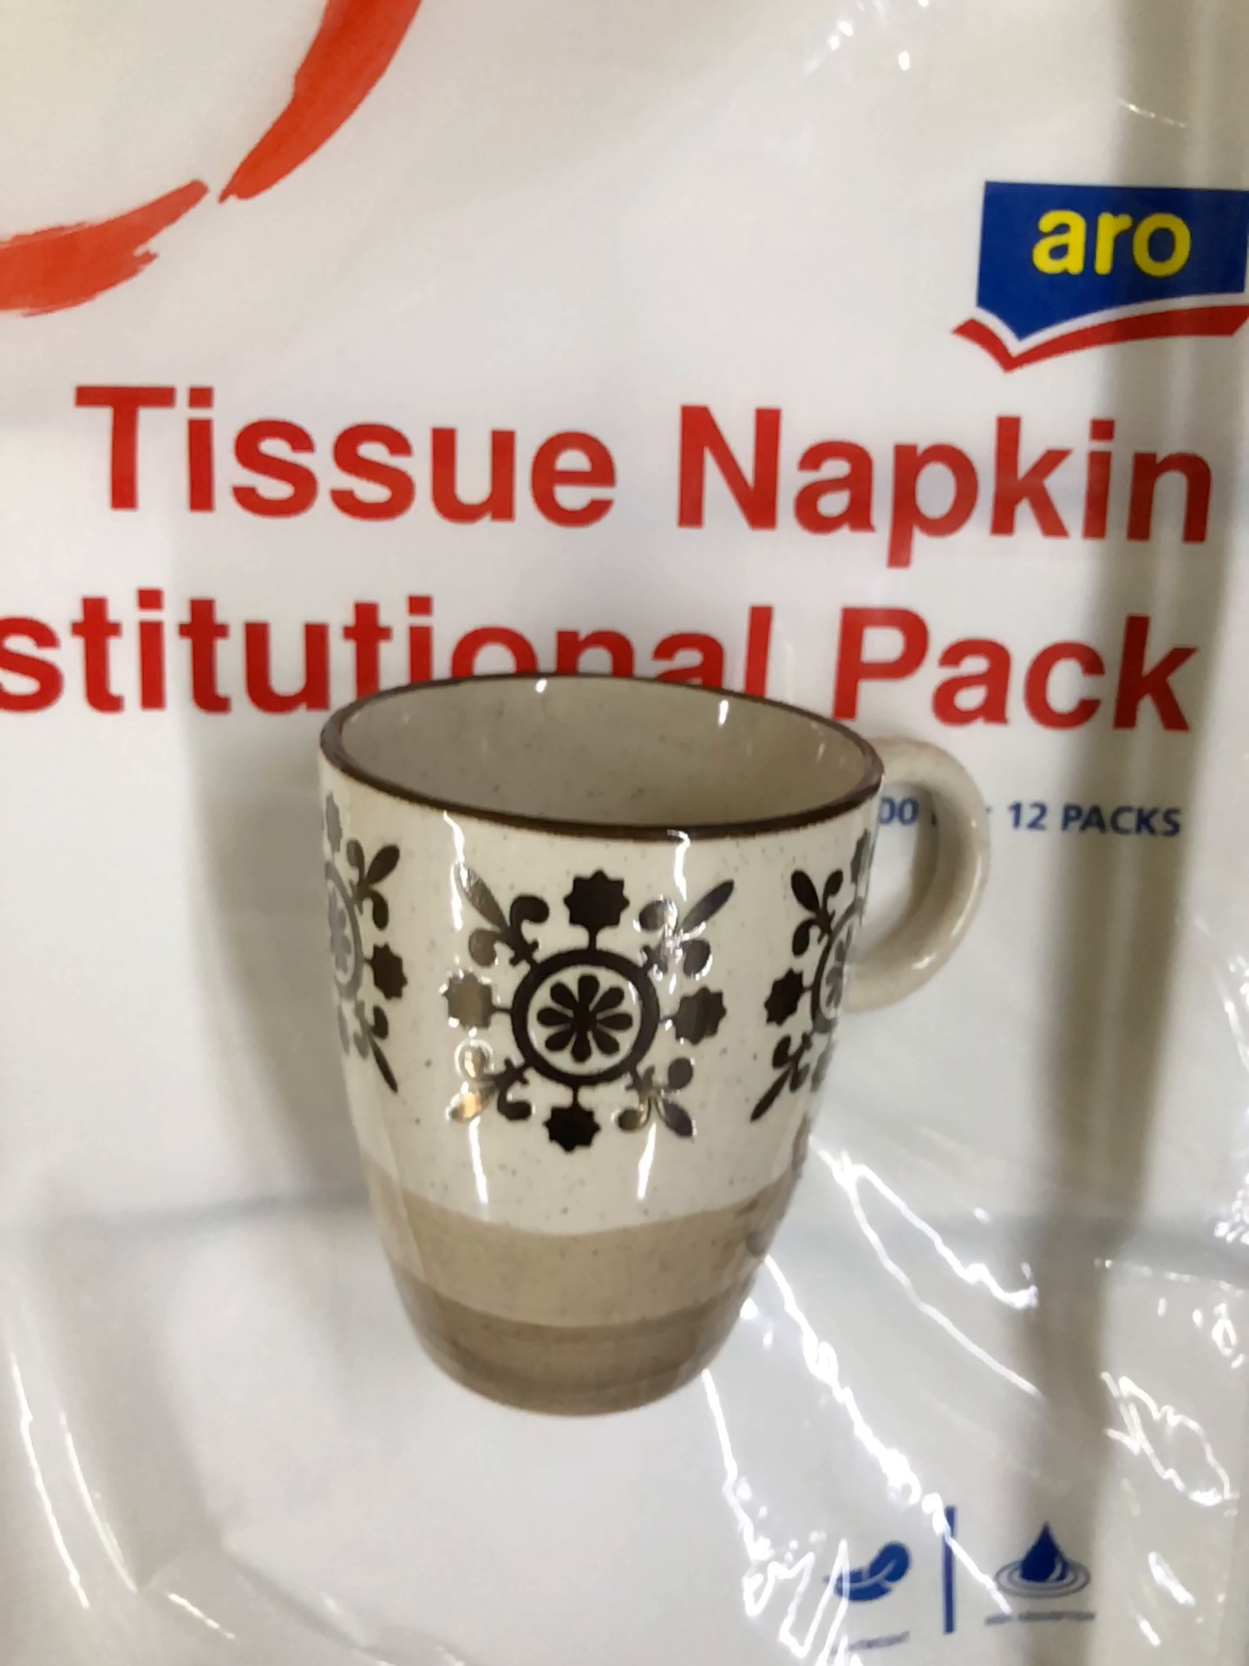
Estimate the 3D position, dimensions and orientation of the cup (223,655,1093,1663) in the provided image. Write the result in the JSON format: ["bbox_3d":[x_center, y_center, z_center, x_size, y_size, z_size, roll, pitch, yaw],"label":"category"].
[{"bbox_3d":[0.000,0.036,0.213,0.100,0.070,0.110,-7,110,-32],"label":"cup"}]
